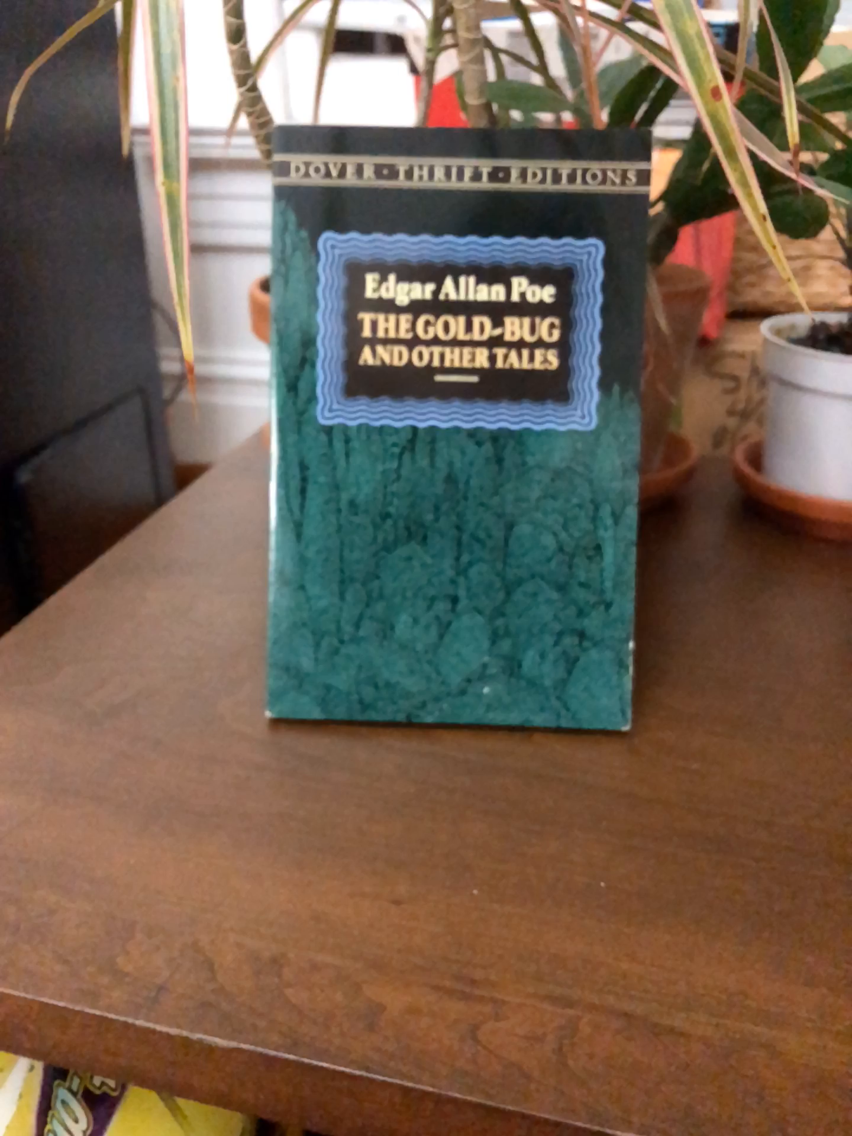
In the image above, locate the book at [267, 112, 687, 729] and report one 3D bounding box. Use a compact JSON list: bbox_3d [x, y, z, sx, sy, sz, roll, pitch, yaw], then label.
[{"bbox_3d":[0.016,-0.051,0.342,0.140,0.210,0.020,1,3,2],"label":"book"}]
